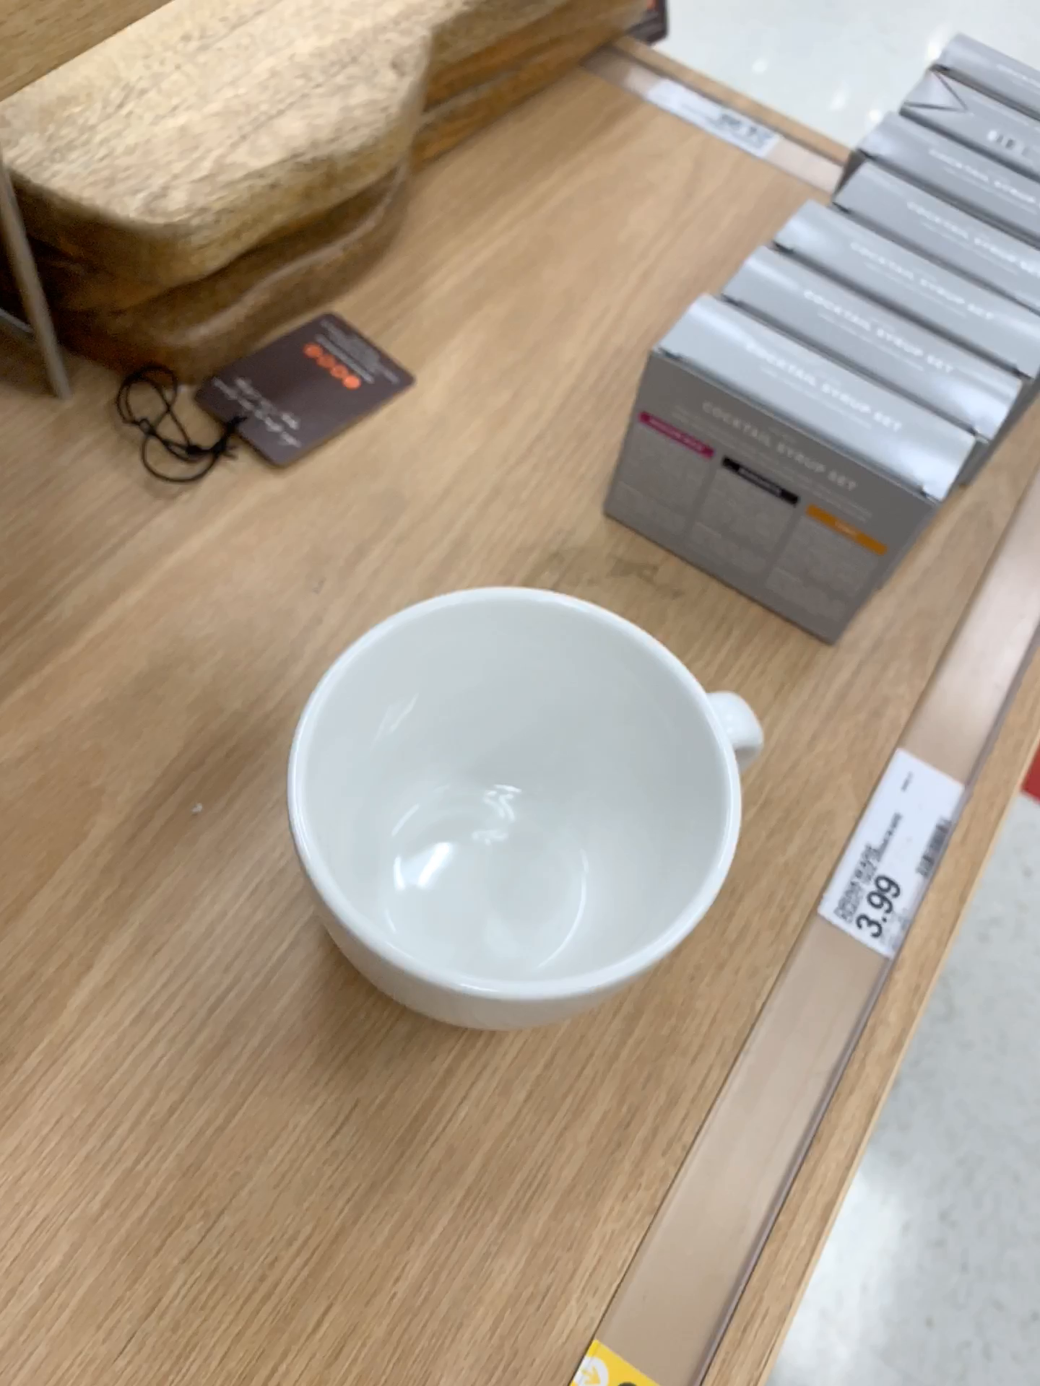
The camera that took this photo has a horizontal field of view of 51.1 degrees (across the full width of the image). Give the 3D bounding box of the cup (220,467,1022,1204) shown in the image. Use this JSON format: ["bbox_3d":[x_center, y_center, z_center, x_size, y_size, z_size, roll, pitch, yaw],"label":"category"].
[{"bbox_3d":[0.019,0.032,0.271,0.140,0.080,0.110,-26,68,-21],"label":"cup"}]
